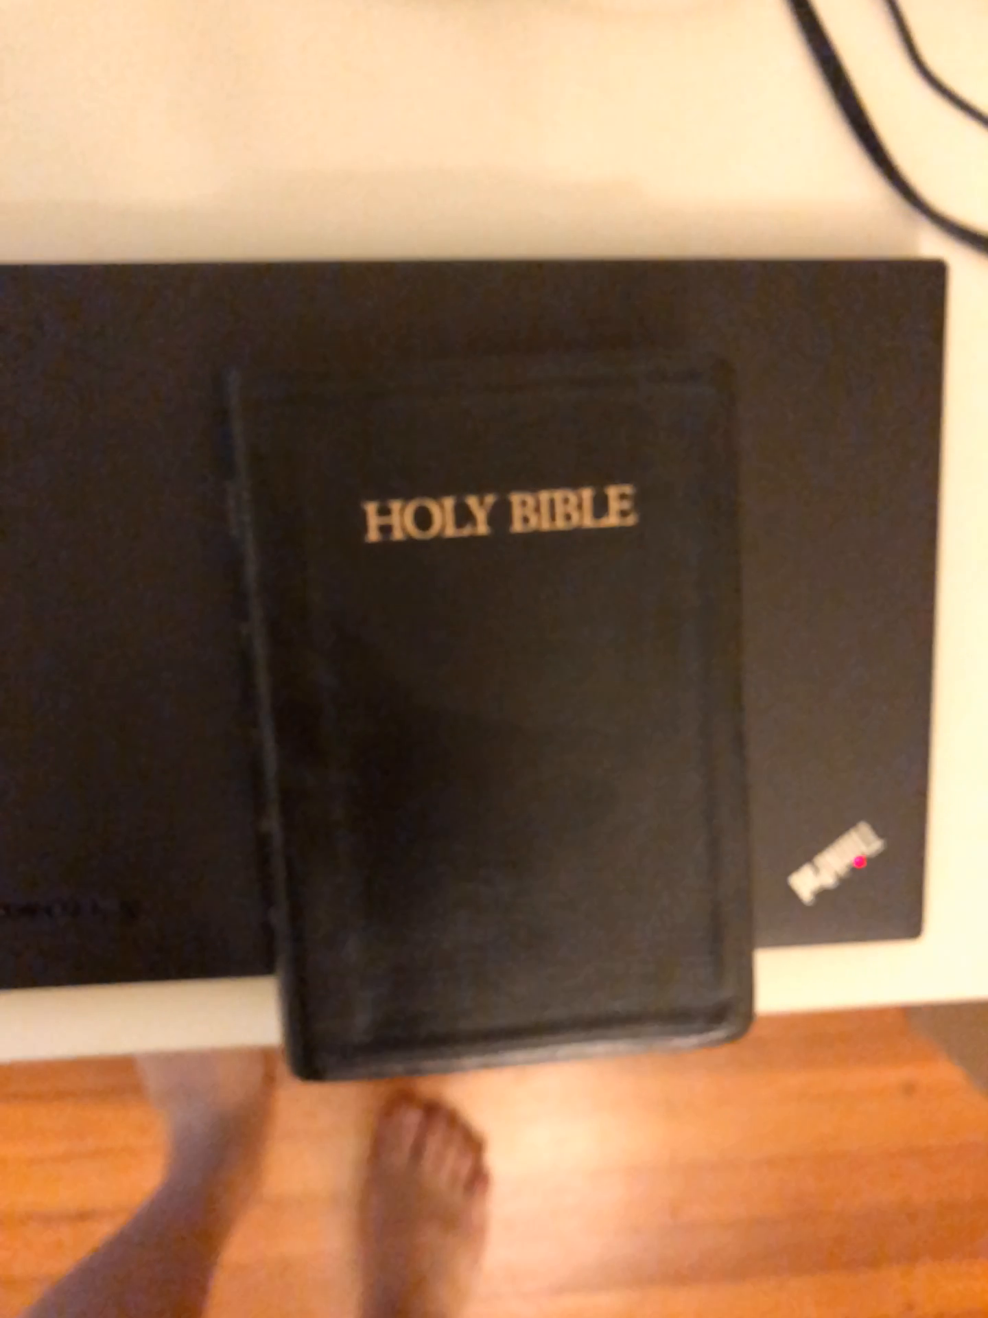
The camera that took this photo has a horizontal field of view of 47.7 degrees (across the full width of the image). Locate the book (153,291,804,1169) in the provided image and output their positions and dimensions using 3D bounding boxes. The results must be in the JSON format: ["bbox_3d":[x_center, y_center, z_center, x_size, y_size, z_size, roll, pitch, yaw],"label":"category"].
[{"bbox_3d":[0.000,0.021,0.336,0.170,0.040,0.240,-4,97,-4],"label":"book"}]
